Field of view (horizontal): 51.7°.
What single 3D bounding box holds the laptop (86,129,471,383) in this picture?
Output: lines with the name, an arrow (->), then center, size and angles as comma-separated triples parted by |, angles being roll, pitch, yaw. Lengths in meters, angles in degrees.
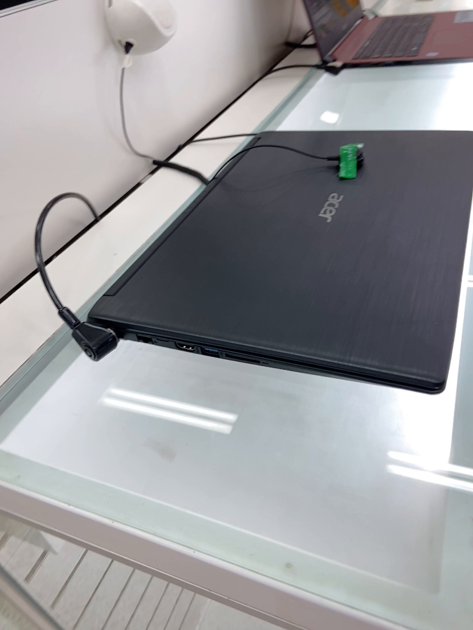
laptop -> 0.073, -0.101, 0.450 | 0.247, 0.001, 0.388 | 9, 42, 22
